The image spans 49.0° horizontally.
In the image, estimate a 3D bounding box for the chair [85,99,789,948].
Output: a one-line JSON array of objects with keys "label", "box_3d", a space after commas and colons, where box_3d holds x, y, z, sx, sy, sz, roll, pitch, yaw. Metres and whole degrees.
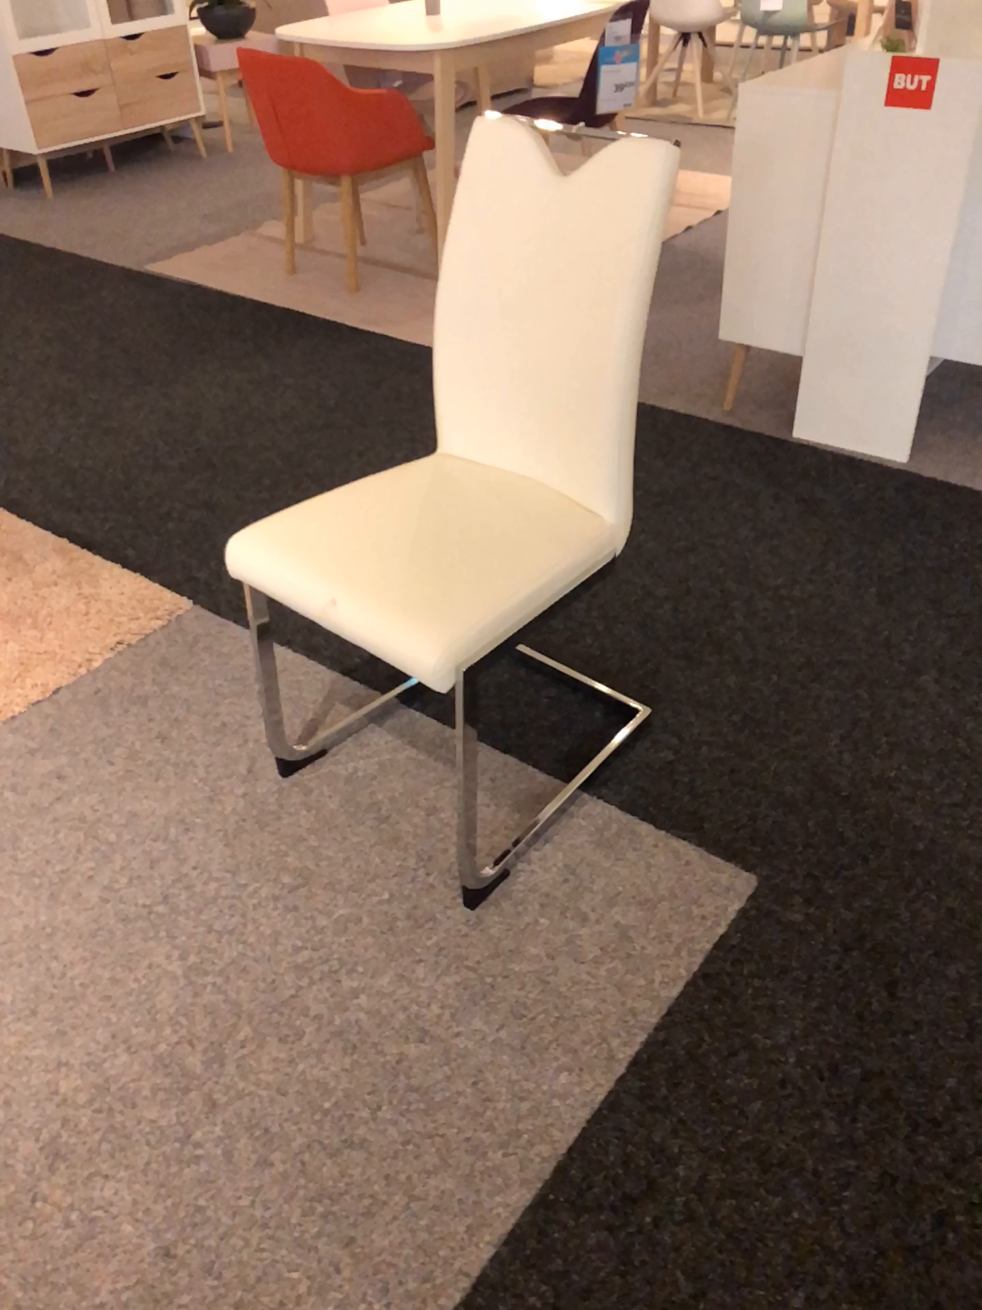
[{"label": "chair", "box_3d": [-0.034, -0.217, 1.553, 0.560, 0.915, 0.634, 26, 45, 33]}]
